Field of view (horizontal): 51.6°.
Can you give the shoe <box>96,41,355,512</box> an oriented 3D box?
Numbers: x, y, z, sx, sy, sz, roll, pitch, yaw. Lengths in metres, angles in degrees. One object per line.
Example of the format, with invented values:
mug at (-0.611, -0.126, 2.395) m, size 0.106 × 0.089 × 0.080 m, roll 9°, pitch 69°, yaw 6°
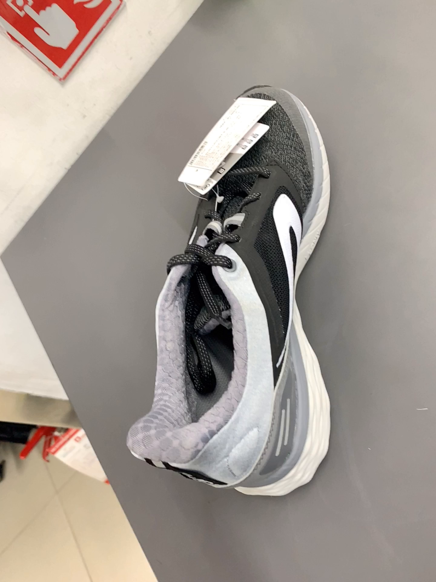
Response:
shoe at (0.009, -0.007, 0.272) m, size 0.100 × 0.090 × 0.240 m, roll -11°, pitch 66°, yaw 29°
